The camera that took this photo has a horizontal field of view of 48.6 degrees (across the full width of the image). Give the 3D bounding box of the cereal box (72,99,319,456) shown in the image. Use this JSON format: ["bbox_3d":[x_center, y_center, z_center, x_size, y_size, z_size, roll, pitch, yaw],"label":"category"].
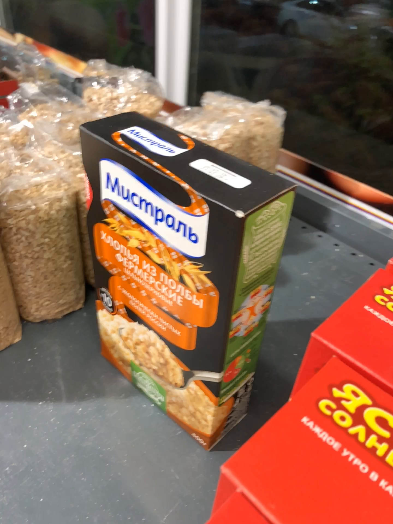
[{"bbox_3d":[-0.013,0.016,0.304,0.140,0.209,0.050,32,46,31],"label":"cereal box"}]
